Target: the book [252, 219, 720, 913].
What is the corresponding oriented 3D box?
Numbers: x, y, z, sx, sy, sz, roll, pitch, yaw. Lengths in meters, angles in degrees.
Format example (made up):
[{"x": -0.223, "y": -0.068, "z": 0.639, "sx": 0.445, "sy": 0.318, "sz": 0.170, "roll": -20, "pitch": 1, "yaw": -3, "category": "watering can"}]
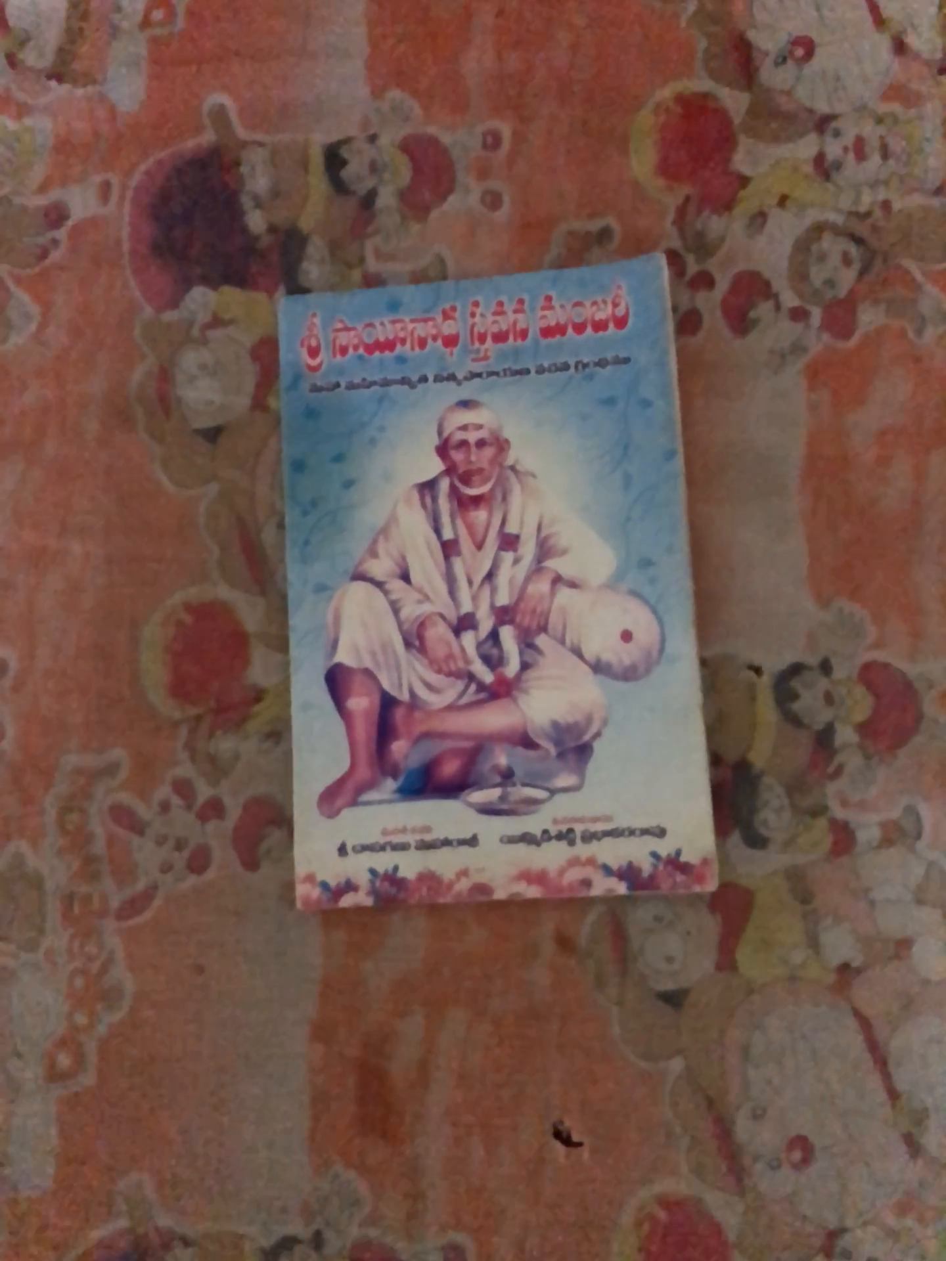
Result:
[{"x": 0.001, "y": -0.023, "z": 0.353, "sx": 0.140, "sy": 0.020, "sz": 0.220, "roll": -3, "pitch": 84, "yaw": 2, "category": "book"}]
